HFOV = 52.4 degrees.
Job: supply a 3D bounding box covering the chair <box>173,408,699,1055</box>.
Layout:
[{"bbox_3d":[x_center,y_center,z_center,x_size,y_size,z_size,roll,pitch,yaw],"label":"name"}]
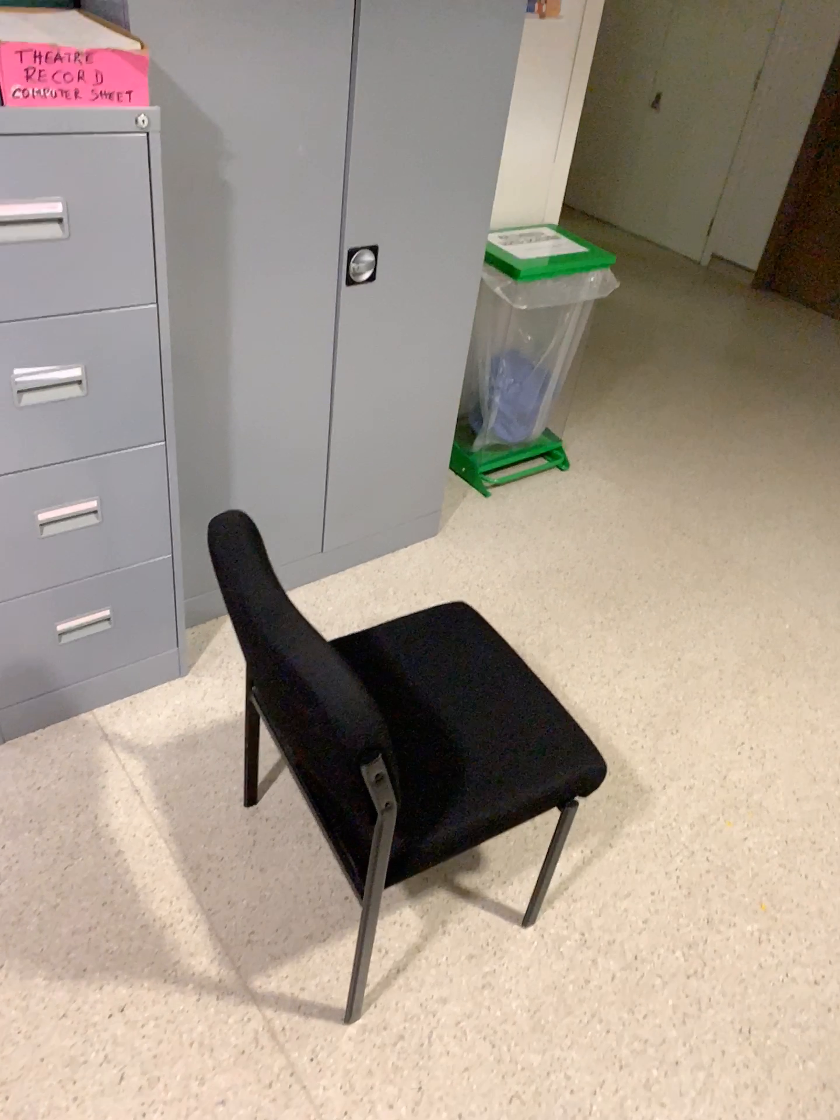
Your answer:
[{"bbox_3d":[-0.046,0.286,1.598,0.592,0.851,0.635,-15,43,-28],"label":"chair"}]
